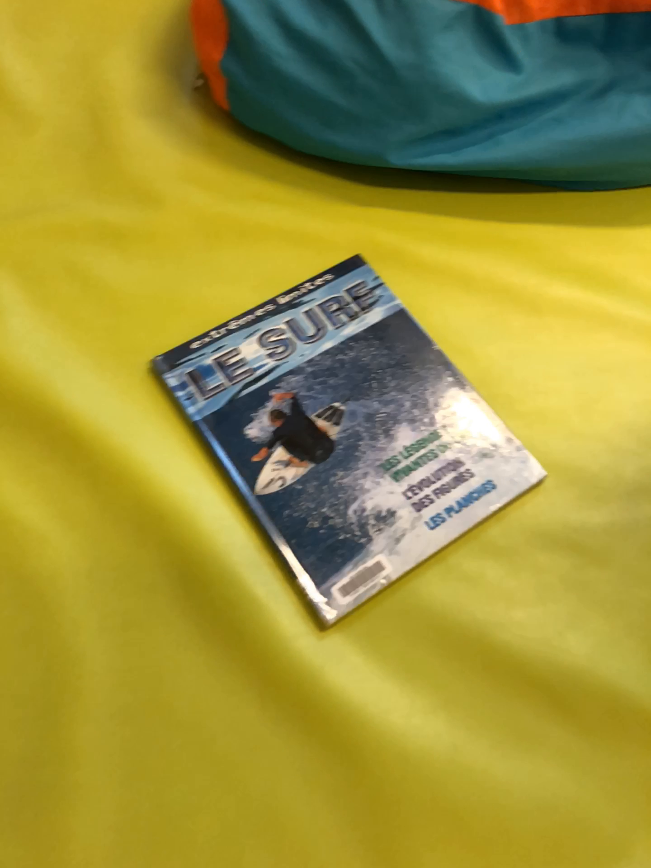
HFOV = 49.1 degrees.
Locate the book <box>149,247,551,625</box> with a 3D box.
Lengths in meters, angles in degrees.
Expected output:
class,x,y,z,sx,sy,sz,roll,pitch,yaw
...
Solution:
class,x,y,z,sx,sy,sz,roll,pitch,yaw
book,0.017,-0.018,0.608,0.226,0.016,0.273,-29,69,-17
